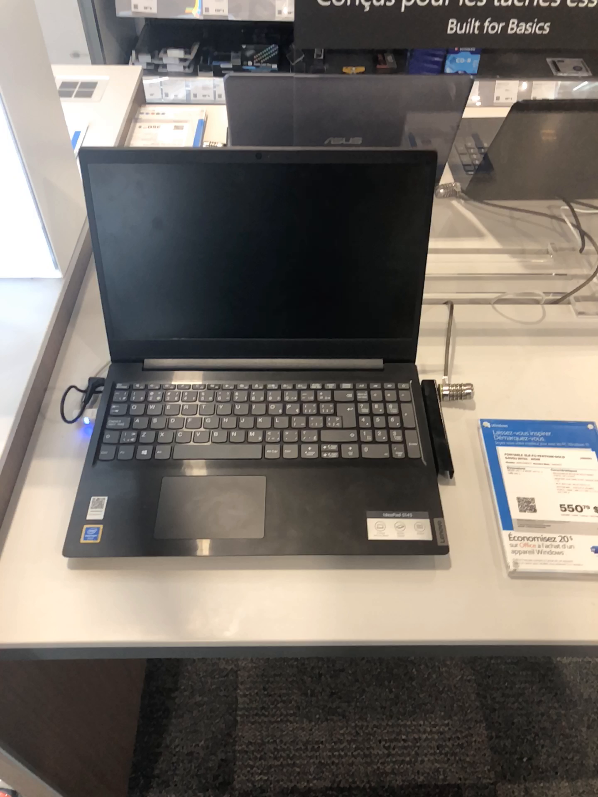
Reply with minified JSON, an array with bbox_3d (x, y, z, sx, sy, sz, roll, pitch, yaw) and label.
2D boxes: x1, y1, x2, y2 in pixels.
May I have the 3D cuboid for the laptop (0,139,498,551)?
[{"bbox_3d":[-0.040,-0.058,0.624,0.345,0.213,0.324,0,51,0],"label":"laptop"}]
